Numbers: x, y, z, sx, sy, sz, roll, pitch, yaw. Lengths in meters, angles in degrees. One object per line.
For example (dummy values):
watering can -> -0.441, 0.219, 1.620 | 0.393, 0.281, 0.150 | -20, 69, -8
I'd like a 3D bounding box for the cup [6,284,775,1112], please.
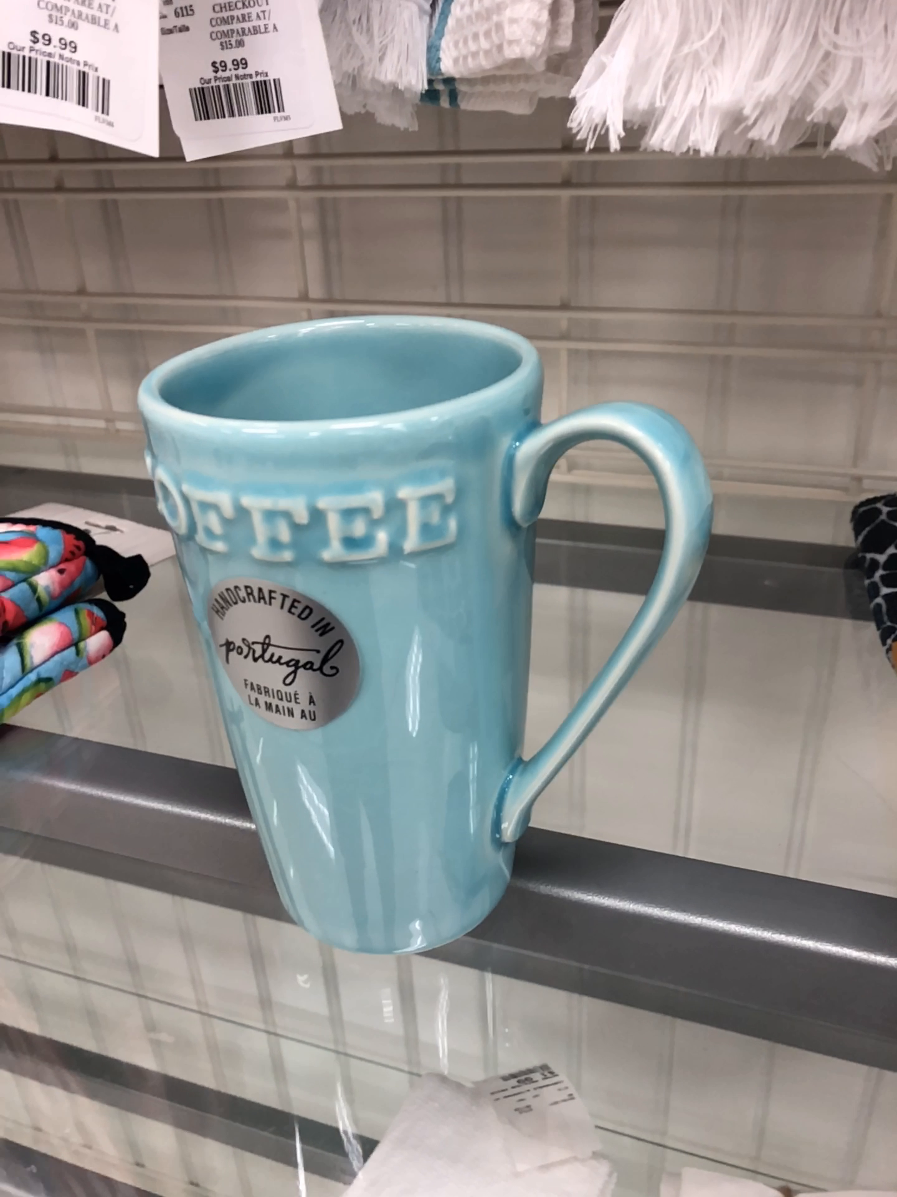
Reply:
cup -> -0.009, 0.010, 0.237 | 0.130, 0.139, 0.090 | 15, 33, 30
